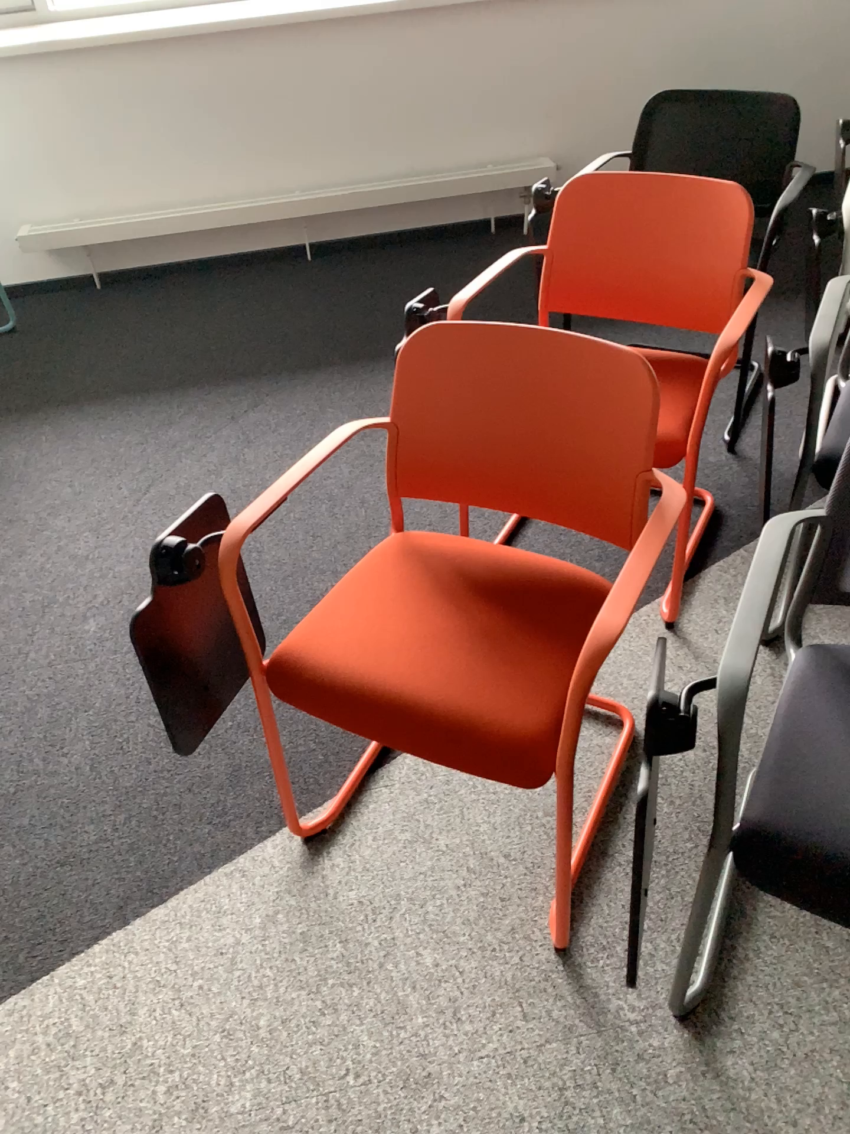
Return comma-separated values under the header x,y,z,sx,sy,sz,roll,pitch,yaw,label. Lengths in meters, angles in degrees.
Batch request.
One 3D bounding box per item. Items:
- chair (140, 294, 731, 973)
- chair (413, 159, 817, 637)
x,y,z,sx,sy,sz,roll,pitch,yaw,label
0.069,0.083,1.366,0.581,0.766,0.562,15,44,23,chair
0.415,-0.395,1.909,0.611,0.756,0.603,15,43,23,chair
